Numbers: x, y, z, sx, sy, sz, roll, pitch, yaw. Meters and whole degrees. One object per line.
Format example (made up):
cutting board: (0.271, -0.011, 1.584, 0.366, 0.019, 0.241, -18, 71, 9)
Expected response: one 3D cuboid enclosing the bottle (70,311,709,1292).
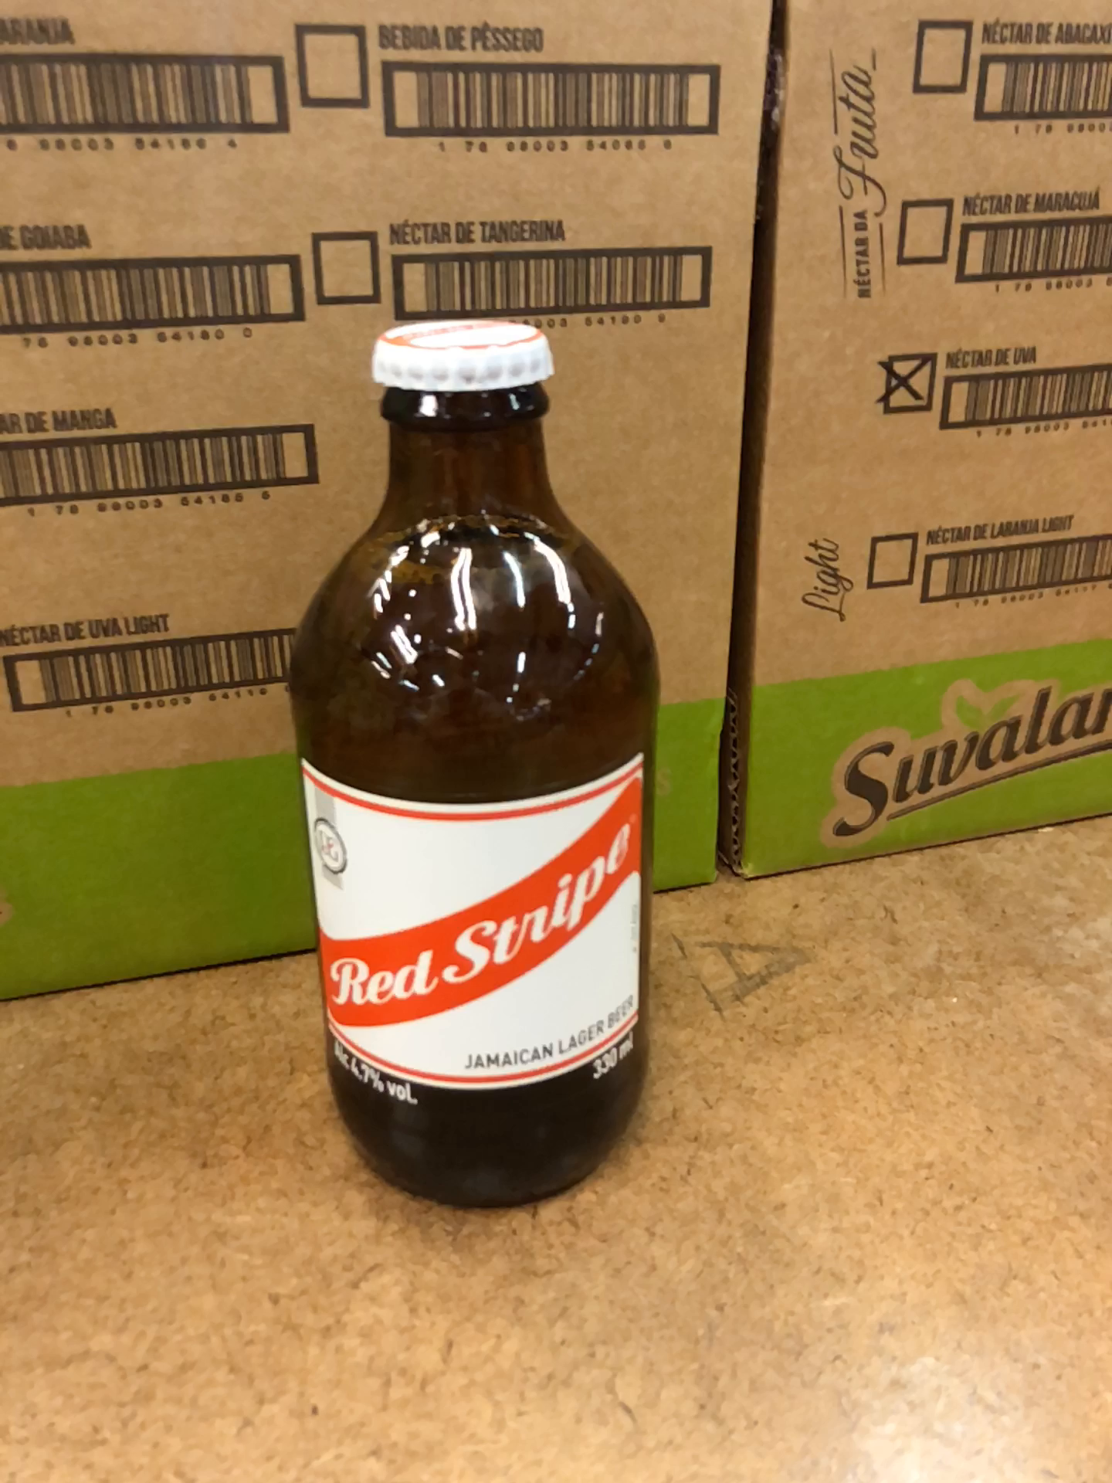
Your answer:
bottle: (-0.019, 0.012, 0.220, 0.080, 0.159, 0.070, 0, 25, 1)
